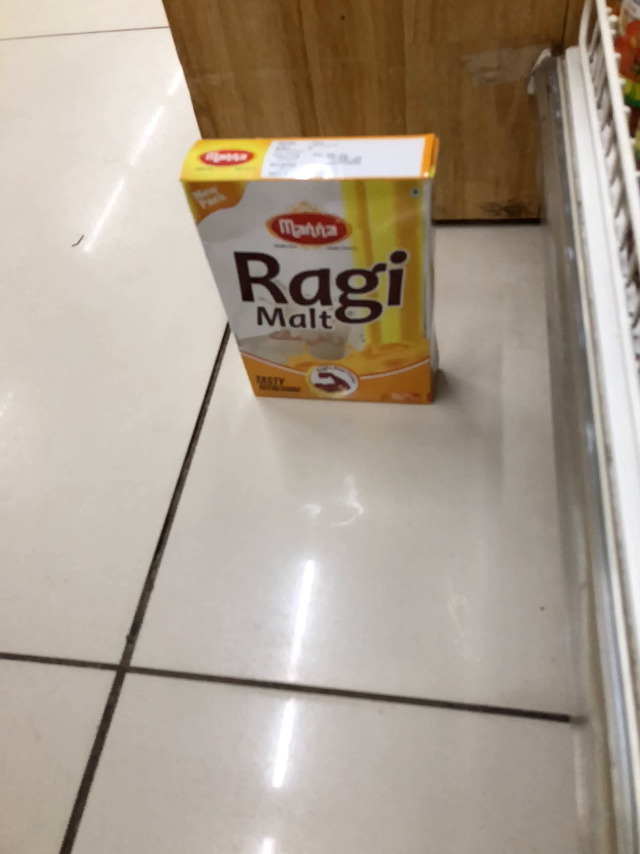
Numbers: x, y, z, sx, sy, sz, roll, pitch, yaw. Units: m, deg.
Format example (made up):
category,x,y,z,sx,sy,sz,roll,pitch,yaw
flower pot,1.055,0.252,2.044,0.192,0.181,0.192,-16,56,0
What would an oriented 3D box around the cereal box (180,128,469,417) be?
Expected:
category,x,y,z,sx,sy,sz,roll,pitch,yaw
cereal box,0.014,-0.081,0.418,0.140,0.179,0.040,4,53,13
